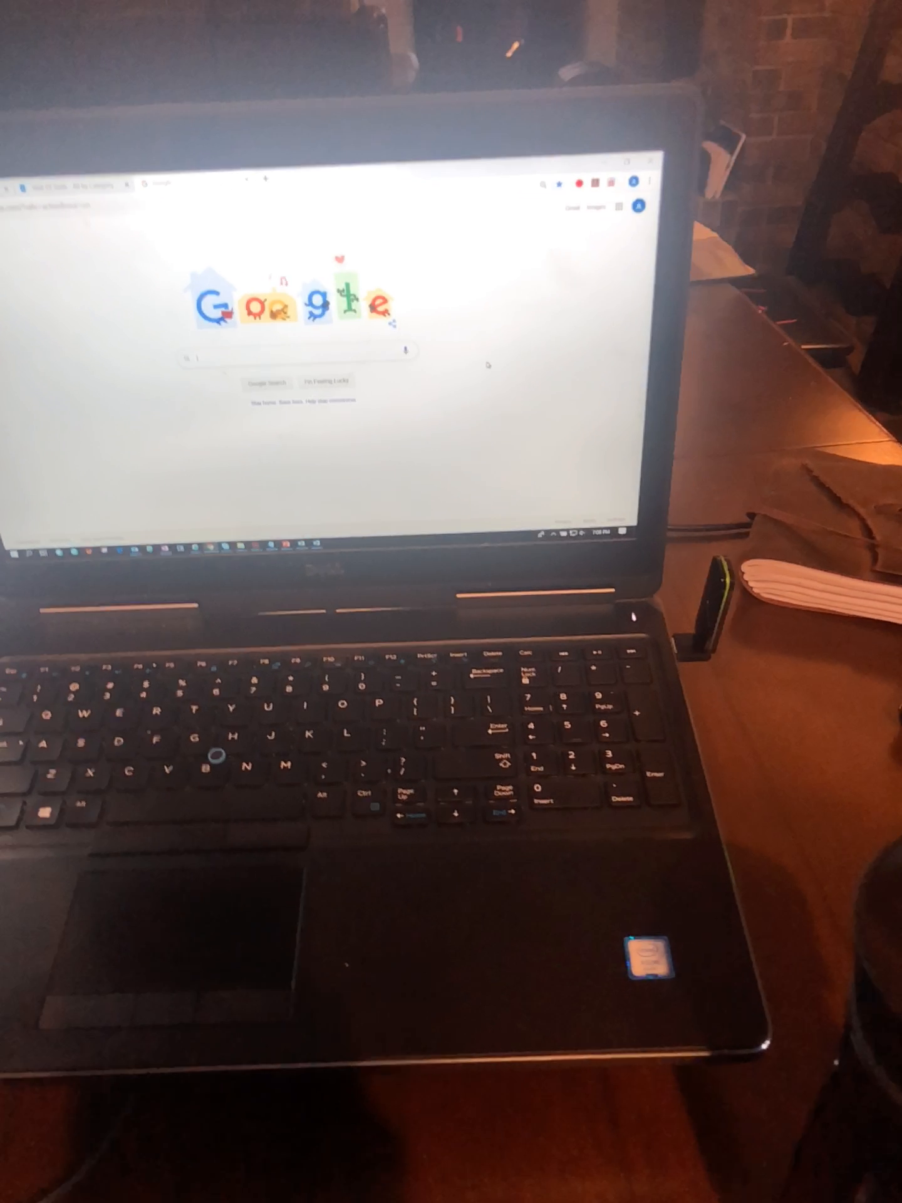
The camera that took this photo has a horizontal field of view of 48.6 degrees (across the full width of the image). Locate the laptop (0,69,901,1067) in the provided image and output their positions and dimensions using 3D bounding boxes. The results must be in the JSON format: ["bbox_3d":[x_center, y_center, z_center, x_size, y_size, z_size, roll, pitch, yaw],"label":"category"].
[{"bbox_3d":[-0.070,-0.032,0.408,0.367,0.258,0.287,-2,37,1],"label":"laptop"}]
